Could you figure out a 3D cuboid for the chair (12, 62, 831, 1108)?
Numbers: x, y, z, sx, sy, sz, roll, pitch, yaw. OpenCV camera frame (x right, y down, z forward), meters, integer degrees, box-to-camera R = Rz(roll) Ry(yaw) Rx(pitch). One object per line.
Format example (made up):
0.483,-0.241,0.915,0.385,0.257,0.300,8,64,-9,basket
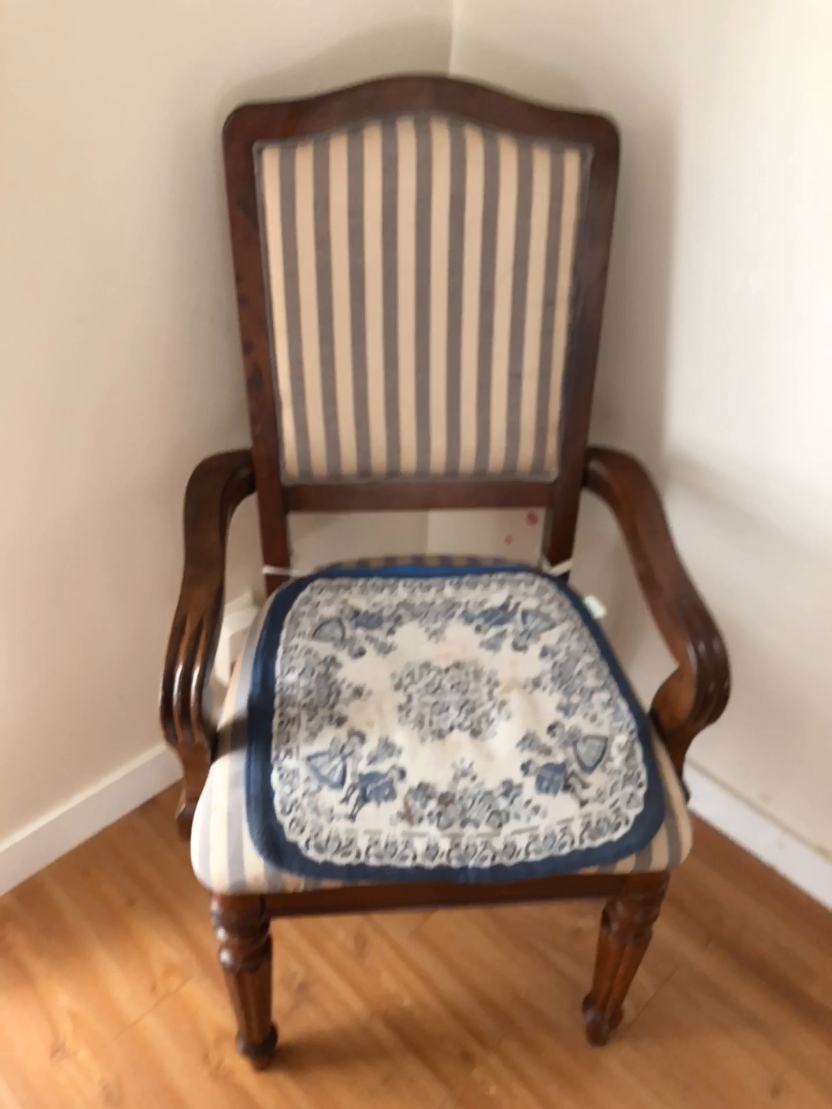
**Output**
0.005,0.076,1.054,0.530,1.043,0.584,-3,38,-6,chair
